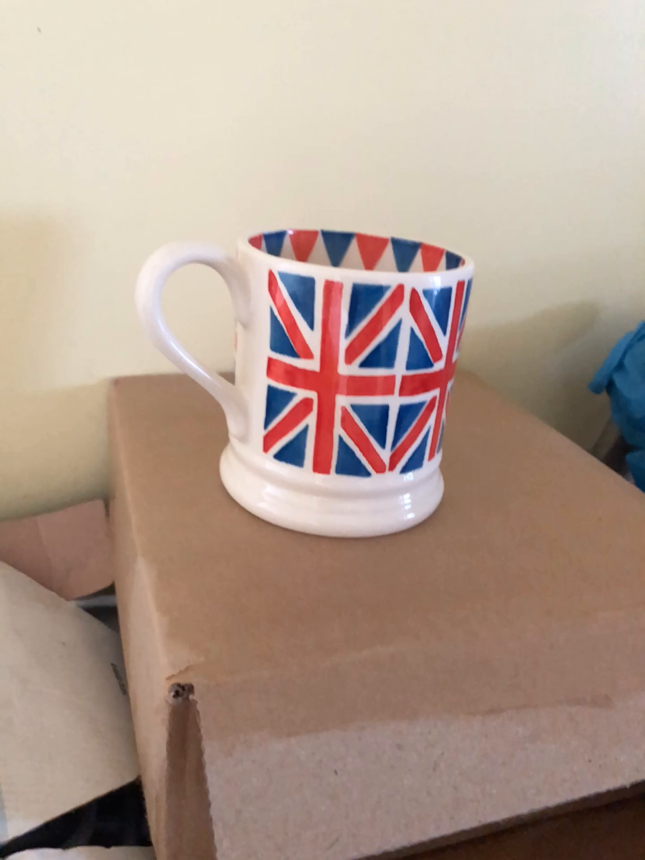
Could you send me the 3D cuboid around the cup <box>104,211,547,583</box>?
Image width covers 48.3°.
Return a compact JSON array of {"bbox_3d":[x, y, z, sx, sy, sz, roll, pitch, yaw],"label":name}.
[{"bbox_3d":[-0.008,-0.023,0.272,0.130,0.099,0.100,-5,26,-18],"label":"cup"}]
